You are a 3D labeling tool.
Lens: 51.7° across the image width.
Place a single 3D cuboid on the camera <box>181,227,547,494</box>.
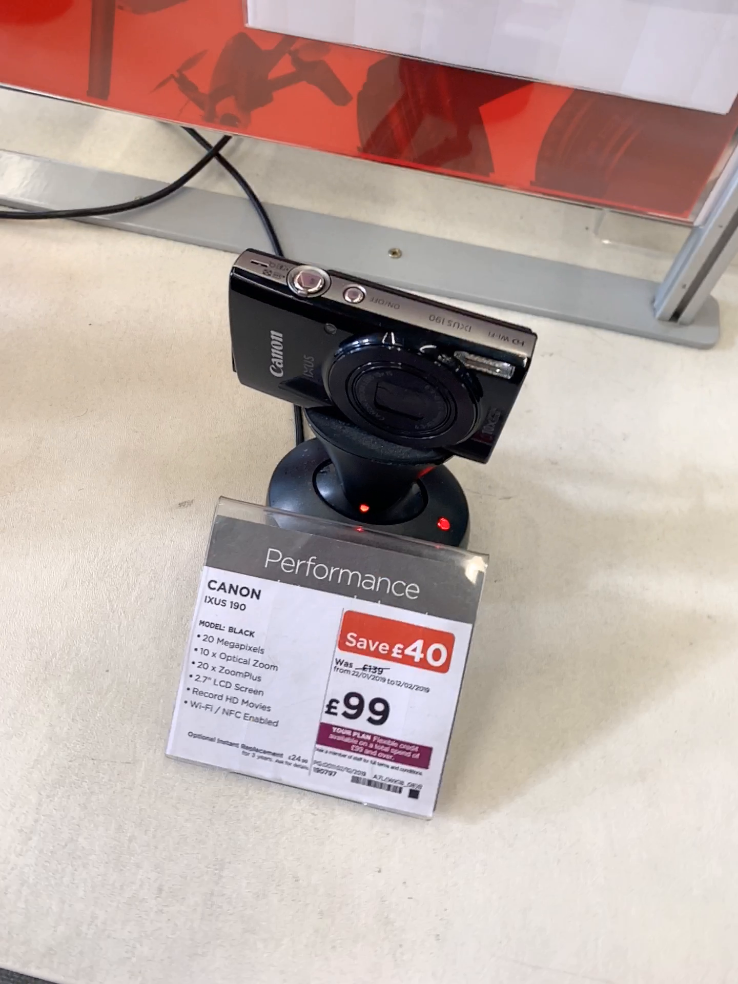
[{"bbox_3d":[-0.003,-0.040,0.239,0.100,0.050,0.030,19,61,6],"label":"camera"}]
